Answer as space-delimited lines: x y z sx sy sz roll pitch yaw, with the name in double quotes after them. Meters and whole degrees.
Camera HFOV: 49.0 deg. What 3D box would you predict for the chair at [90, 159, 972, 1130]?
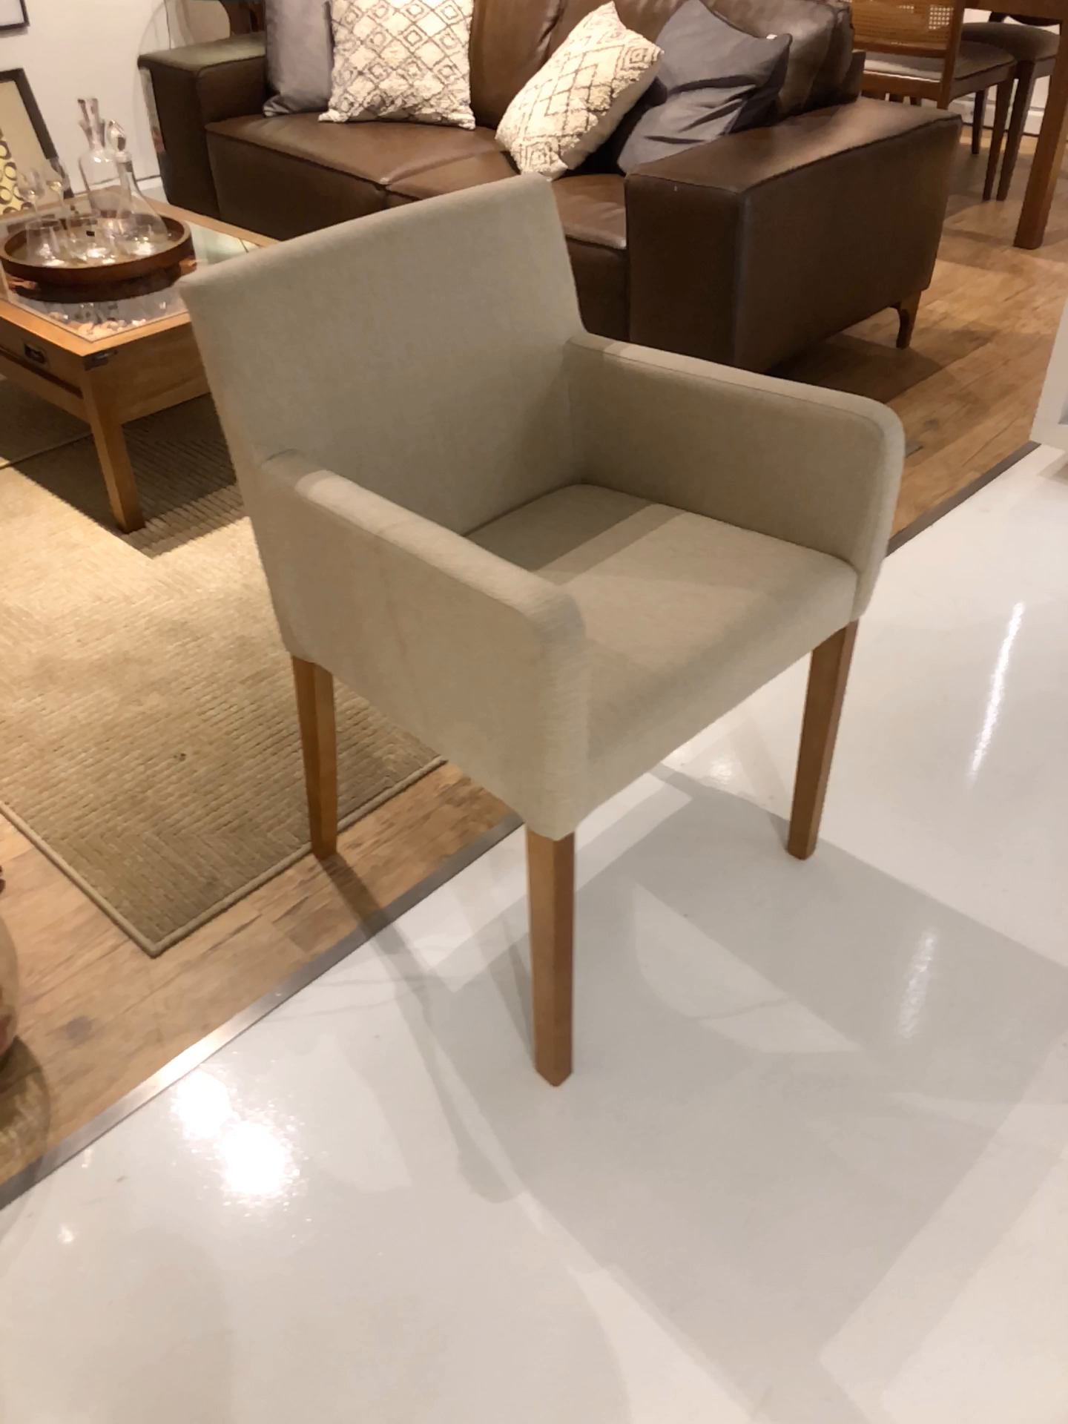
0.001 -0.121 1.387 0.622 0.794 0.603 30 48 34 "chair"
